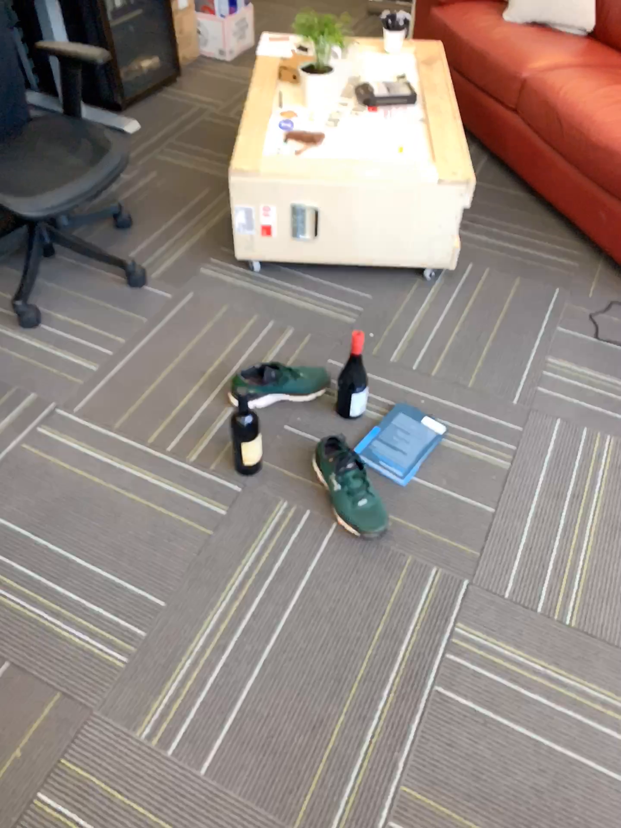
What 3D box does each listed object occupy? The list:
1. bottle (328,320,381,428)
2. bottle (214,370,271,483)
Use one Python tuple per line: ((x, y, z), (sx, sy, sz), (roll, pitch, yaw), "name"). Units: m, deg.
((0.112, -0.100, 1.664), (0.090, 0.289, 0.080), (32, 56, 23), "bottle")
((-0.161, 0.036, 1.525), (0.080, 0.289, 0.090), (-35, 59, -27), "bottle")
